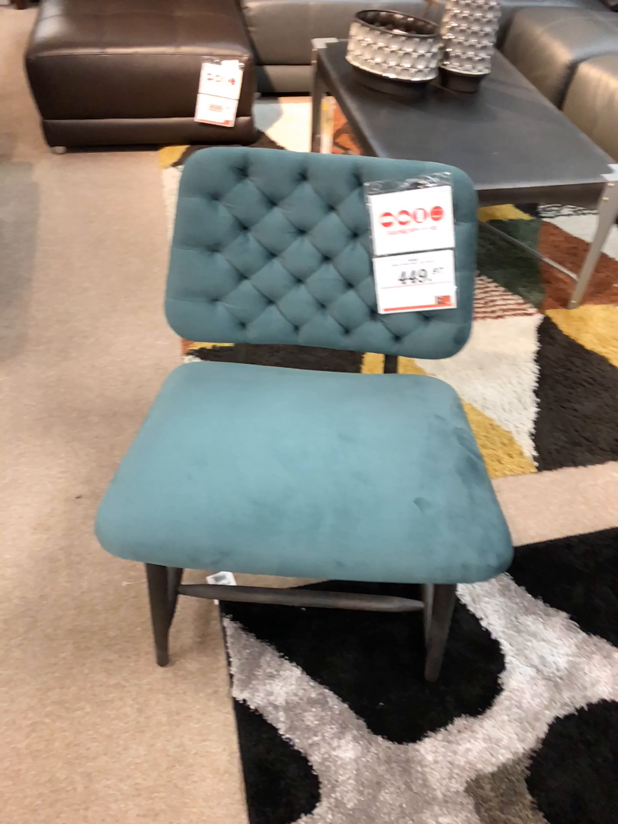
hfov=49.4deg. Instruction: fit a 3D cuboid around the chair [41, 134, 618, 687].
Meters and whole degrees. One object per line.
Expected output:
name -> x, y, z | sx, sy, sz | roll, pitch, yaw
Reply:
chair -> 0.017, 0.041, 1.166 | 0.639, 0.765, 0.534 | 4, 46, -2
